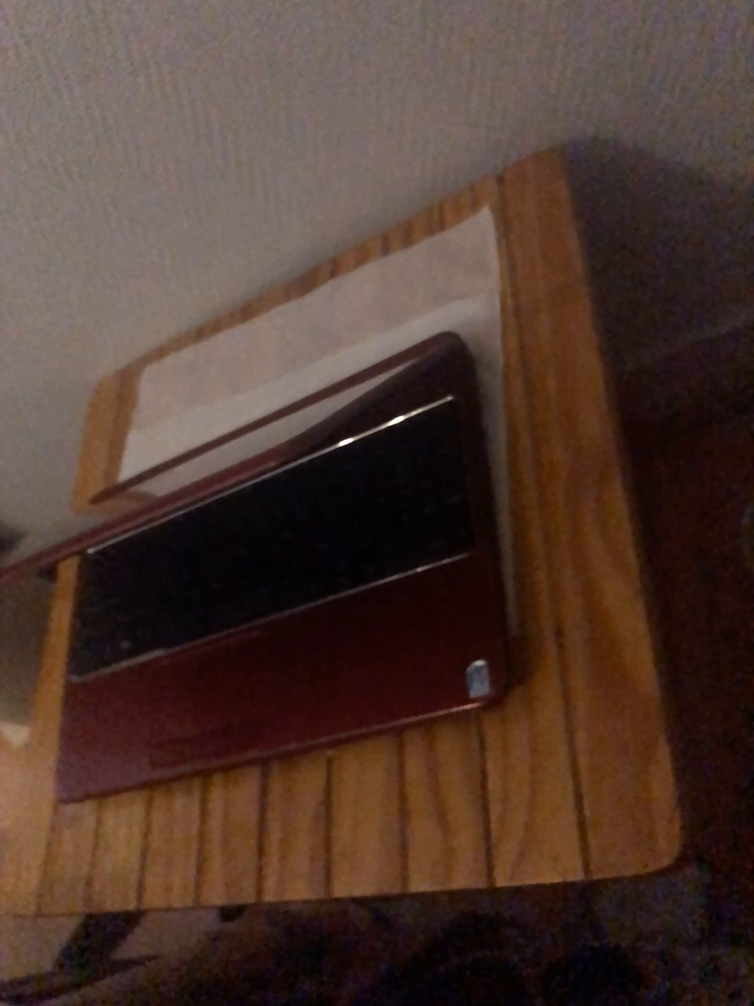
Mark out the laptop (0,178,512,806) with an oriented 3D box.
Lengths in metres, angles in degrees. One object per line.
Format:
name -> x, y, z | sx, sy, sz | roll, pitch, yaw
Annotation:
laptop -> -0.137, 0.018, 0.557 | 0.373, 0.168, 0.254 | -21, 55, 24
